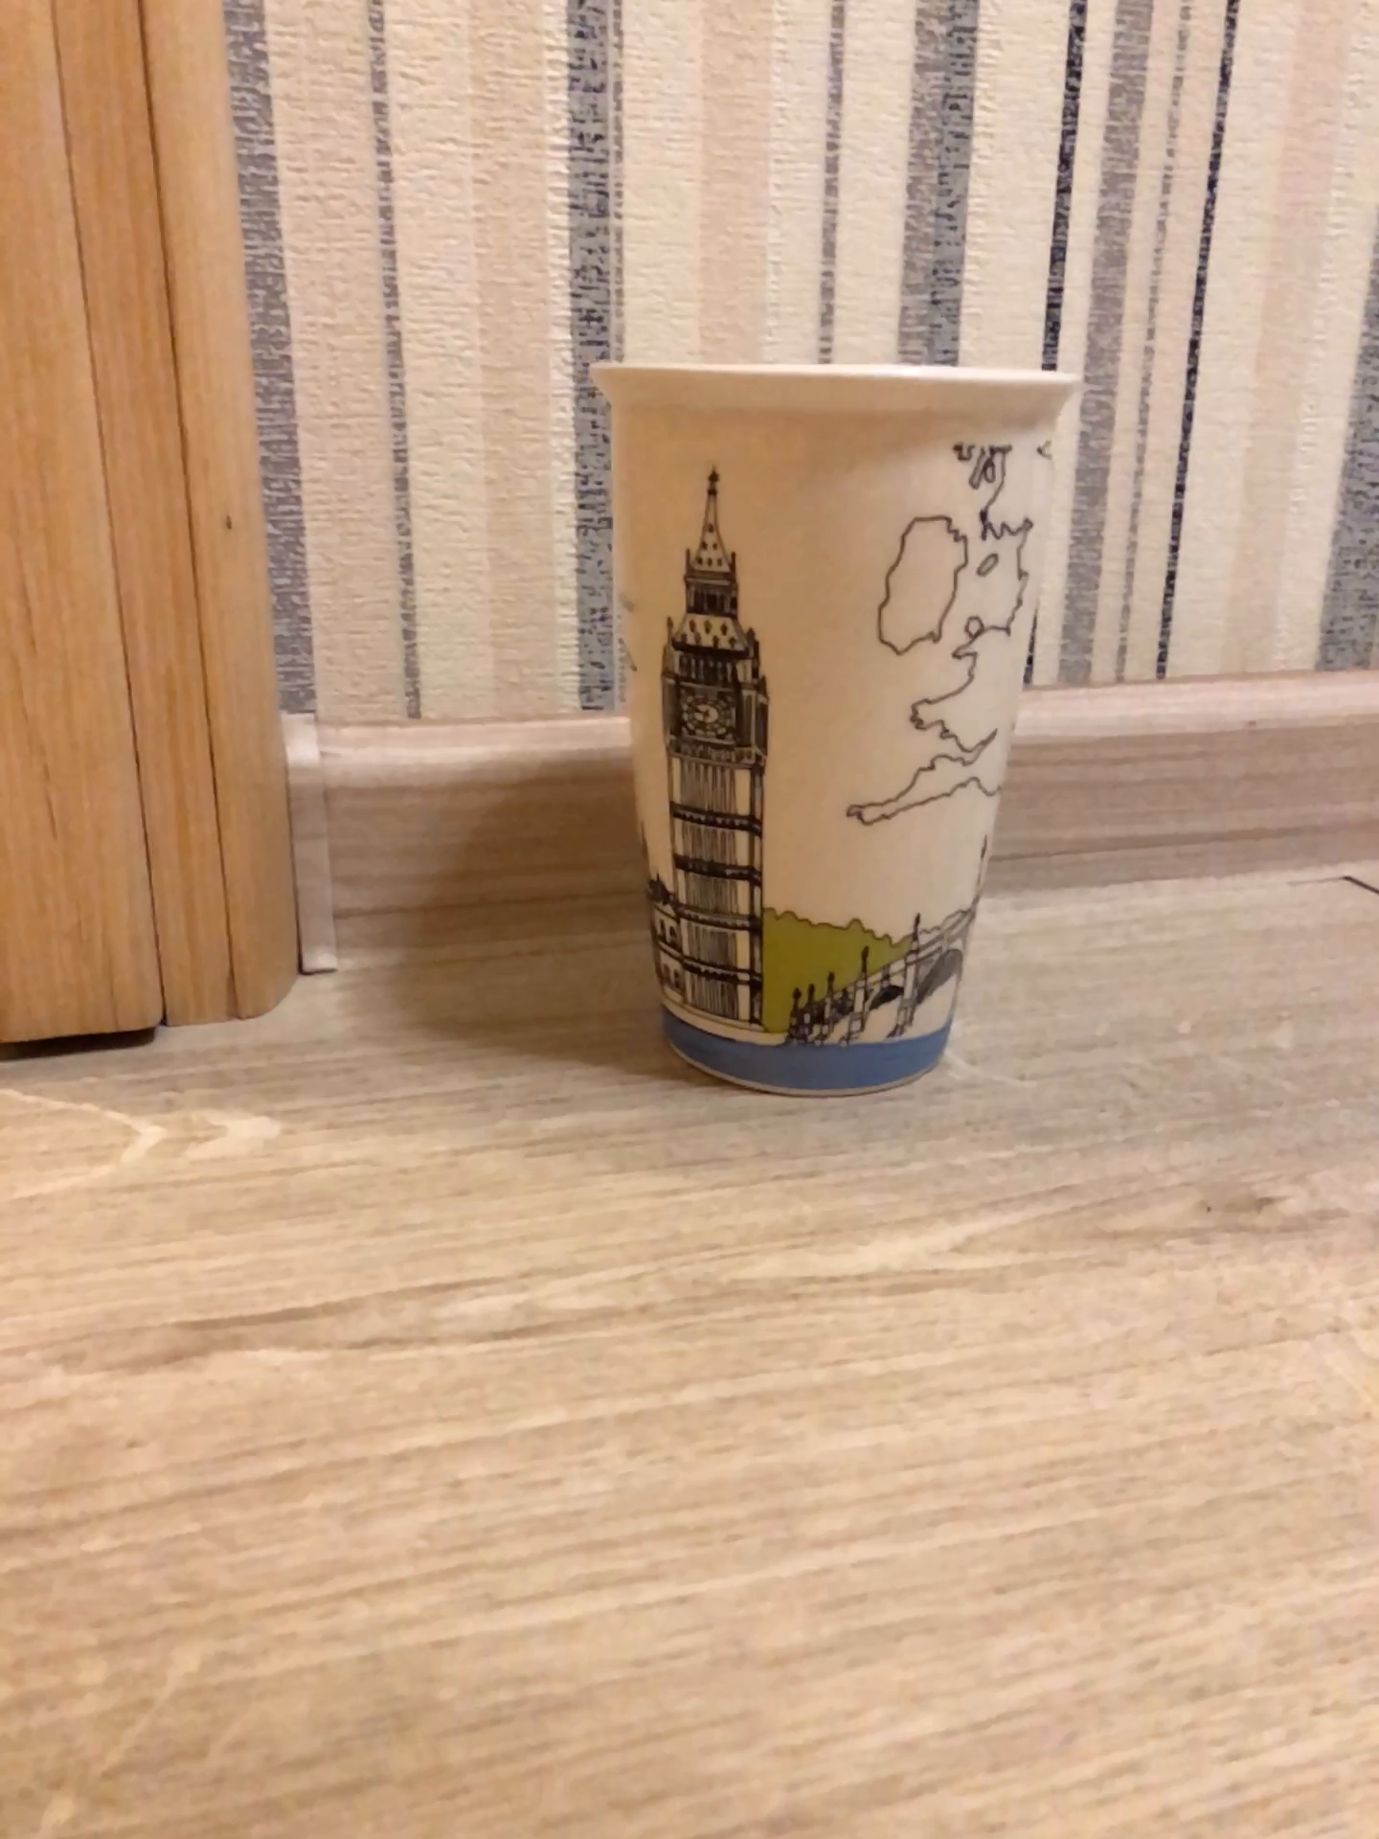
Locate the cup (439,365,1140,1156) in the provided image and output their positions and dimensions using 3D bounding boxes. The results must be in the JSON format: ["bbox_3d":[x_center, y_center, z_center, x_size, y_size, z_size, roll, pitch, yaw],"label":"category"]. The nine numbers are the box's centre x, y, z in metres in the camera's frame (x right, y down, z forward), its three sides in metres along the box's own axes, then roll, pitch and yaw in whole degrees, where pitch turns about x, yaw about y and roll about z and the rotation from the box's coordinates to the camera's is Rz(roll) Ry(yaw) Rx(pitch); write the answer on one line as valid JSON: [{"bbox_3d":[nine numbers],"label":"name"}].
[{"bbox_3d":[0.020,-0.043,0.315,0.095,0.133,0.097,0,19,0],"label":"cup"}]
